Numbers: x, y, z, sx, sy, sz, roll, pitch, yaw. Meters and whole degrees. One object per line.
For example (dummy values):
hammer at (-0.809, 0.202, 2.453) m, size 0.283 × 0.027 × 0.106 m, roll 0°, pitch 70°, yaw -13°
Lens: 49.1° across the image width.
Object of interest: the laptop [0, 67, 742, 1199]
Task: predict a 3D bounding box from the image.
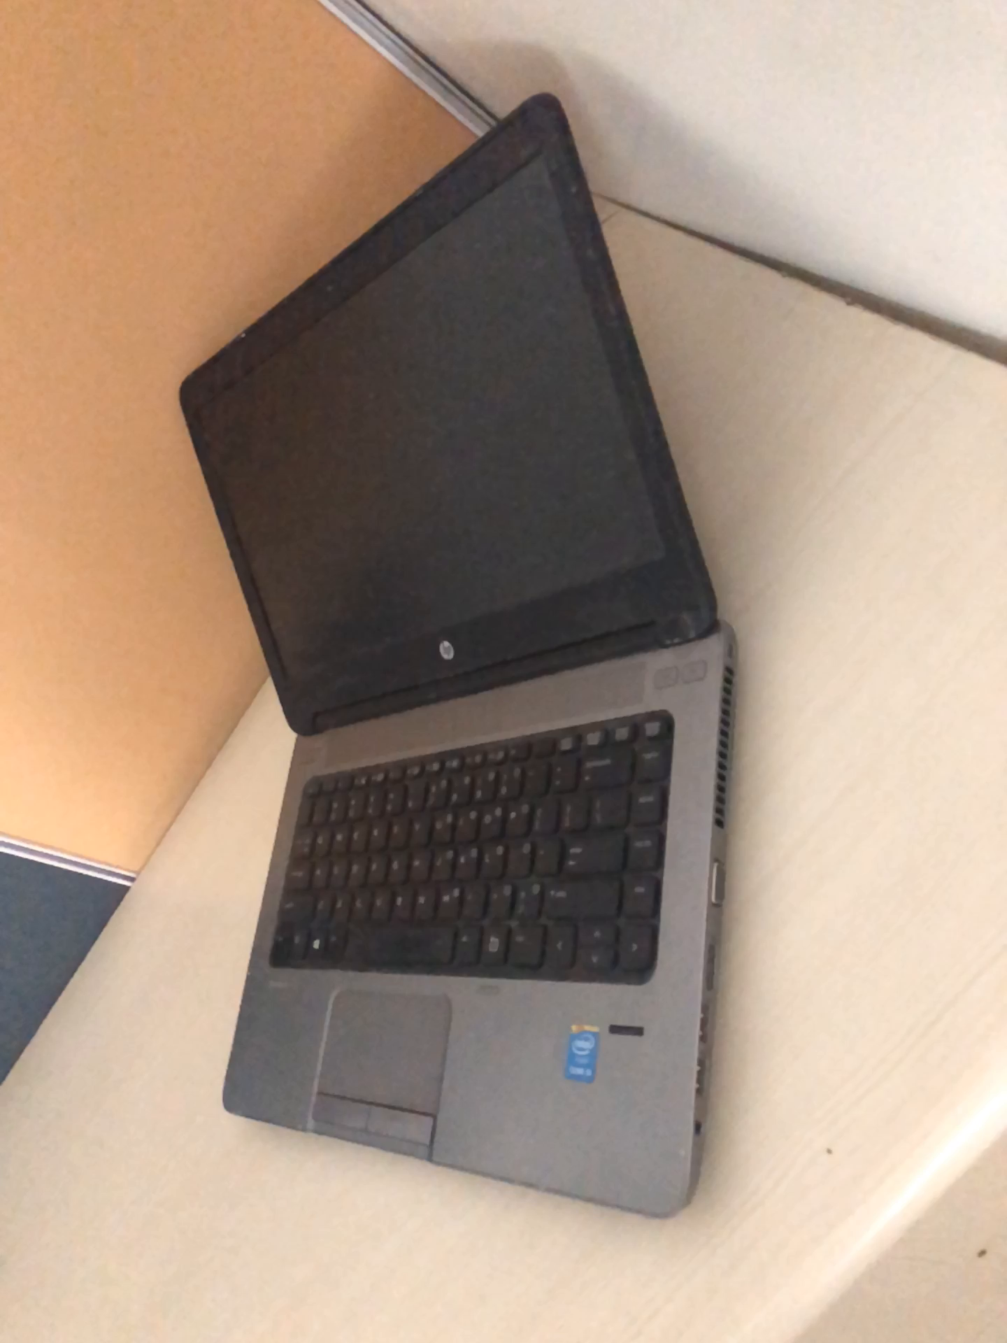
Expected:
laptop at (-0.068, -0.001, 0.515) m, size 0.317 × 0.125 × 0.391 m, roll -15°, pitch 60°, yaw 48°
